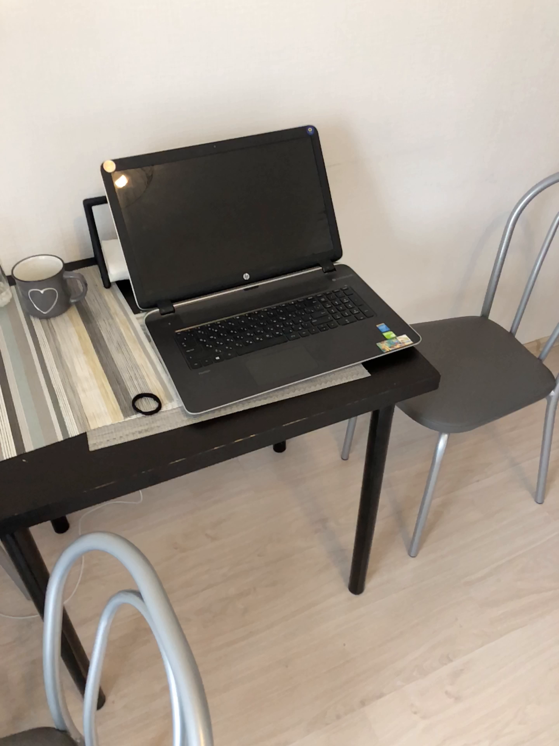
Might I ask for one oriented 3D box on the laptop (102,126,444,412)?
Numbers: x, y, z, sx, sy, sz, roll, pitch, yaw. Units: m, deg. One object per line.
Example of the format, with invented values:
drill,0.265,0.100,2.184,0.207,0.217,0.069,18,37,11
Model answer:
laptop,-0.032,-0.209,1.060,0.415,0.227,0.414,-17,44,-18
